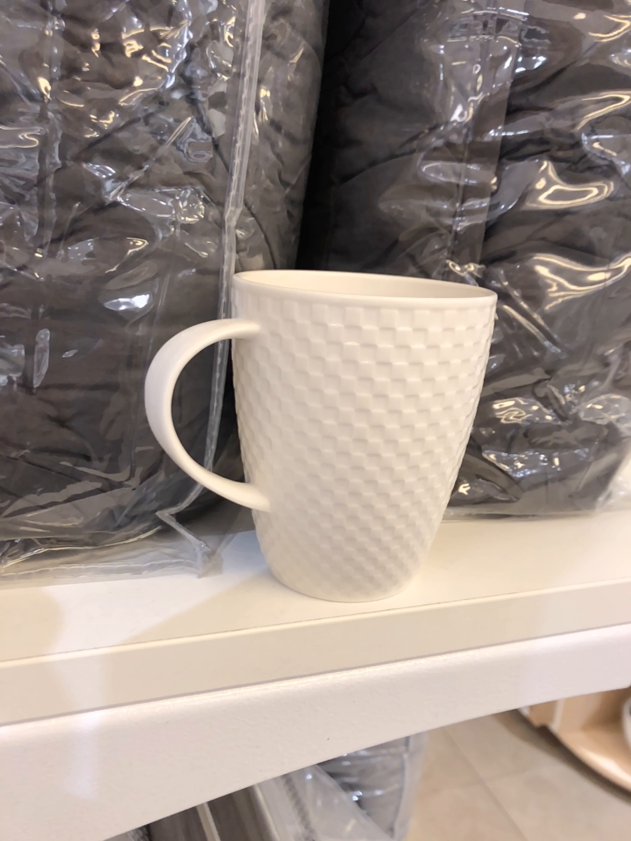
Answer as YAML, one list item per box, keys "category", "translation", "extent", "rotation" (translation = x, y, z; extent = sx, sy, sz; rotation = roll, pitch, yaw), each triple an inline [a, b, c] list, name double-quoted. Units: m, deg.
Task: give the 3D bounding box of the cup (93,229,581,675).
- category: "cup"
  translation: [0.005, -0.004, 0.208]
  extent: [0.110, 0.090, 0.080]
  rotation: [-8, 20, -39]
